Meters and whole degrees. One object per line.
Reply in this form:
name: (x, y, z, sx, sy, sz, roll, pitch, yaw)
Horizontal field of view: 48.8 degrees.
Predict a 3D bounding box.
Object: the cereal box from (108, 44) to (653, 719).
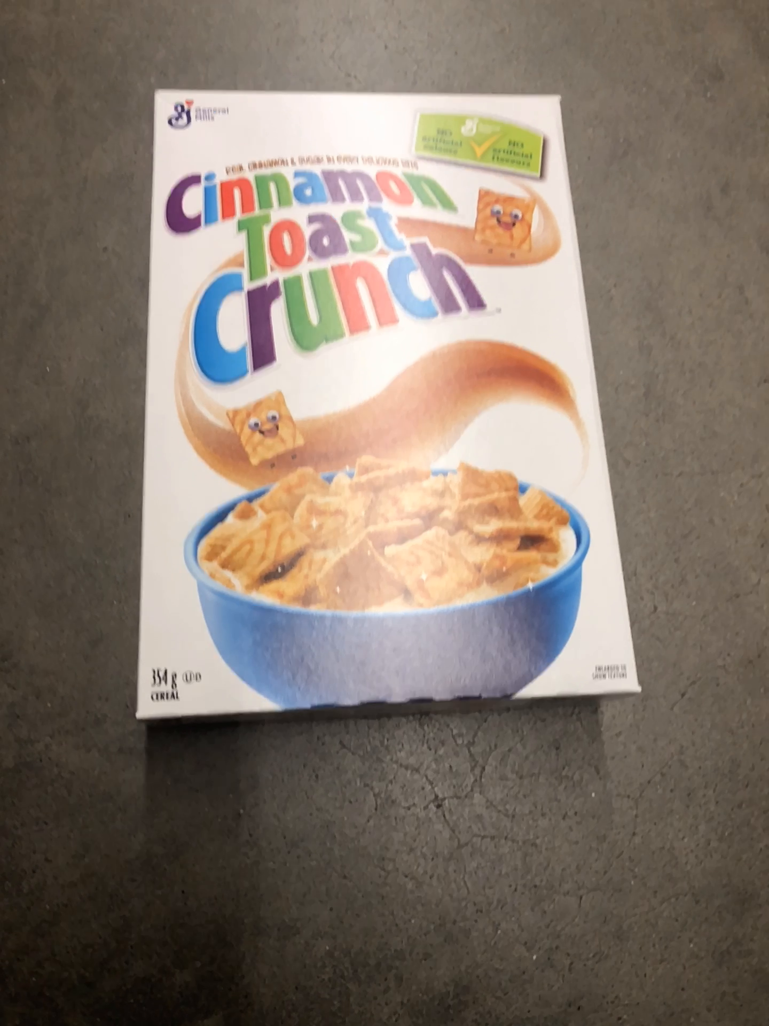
cereal box: (-0.010, -0.064, 0.376, 0.200, 0.060, 0.291, -2, 75, -4)
